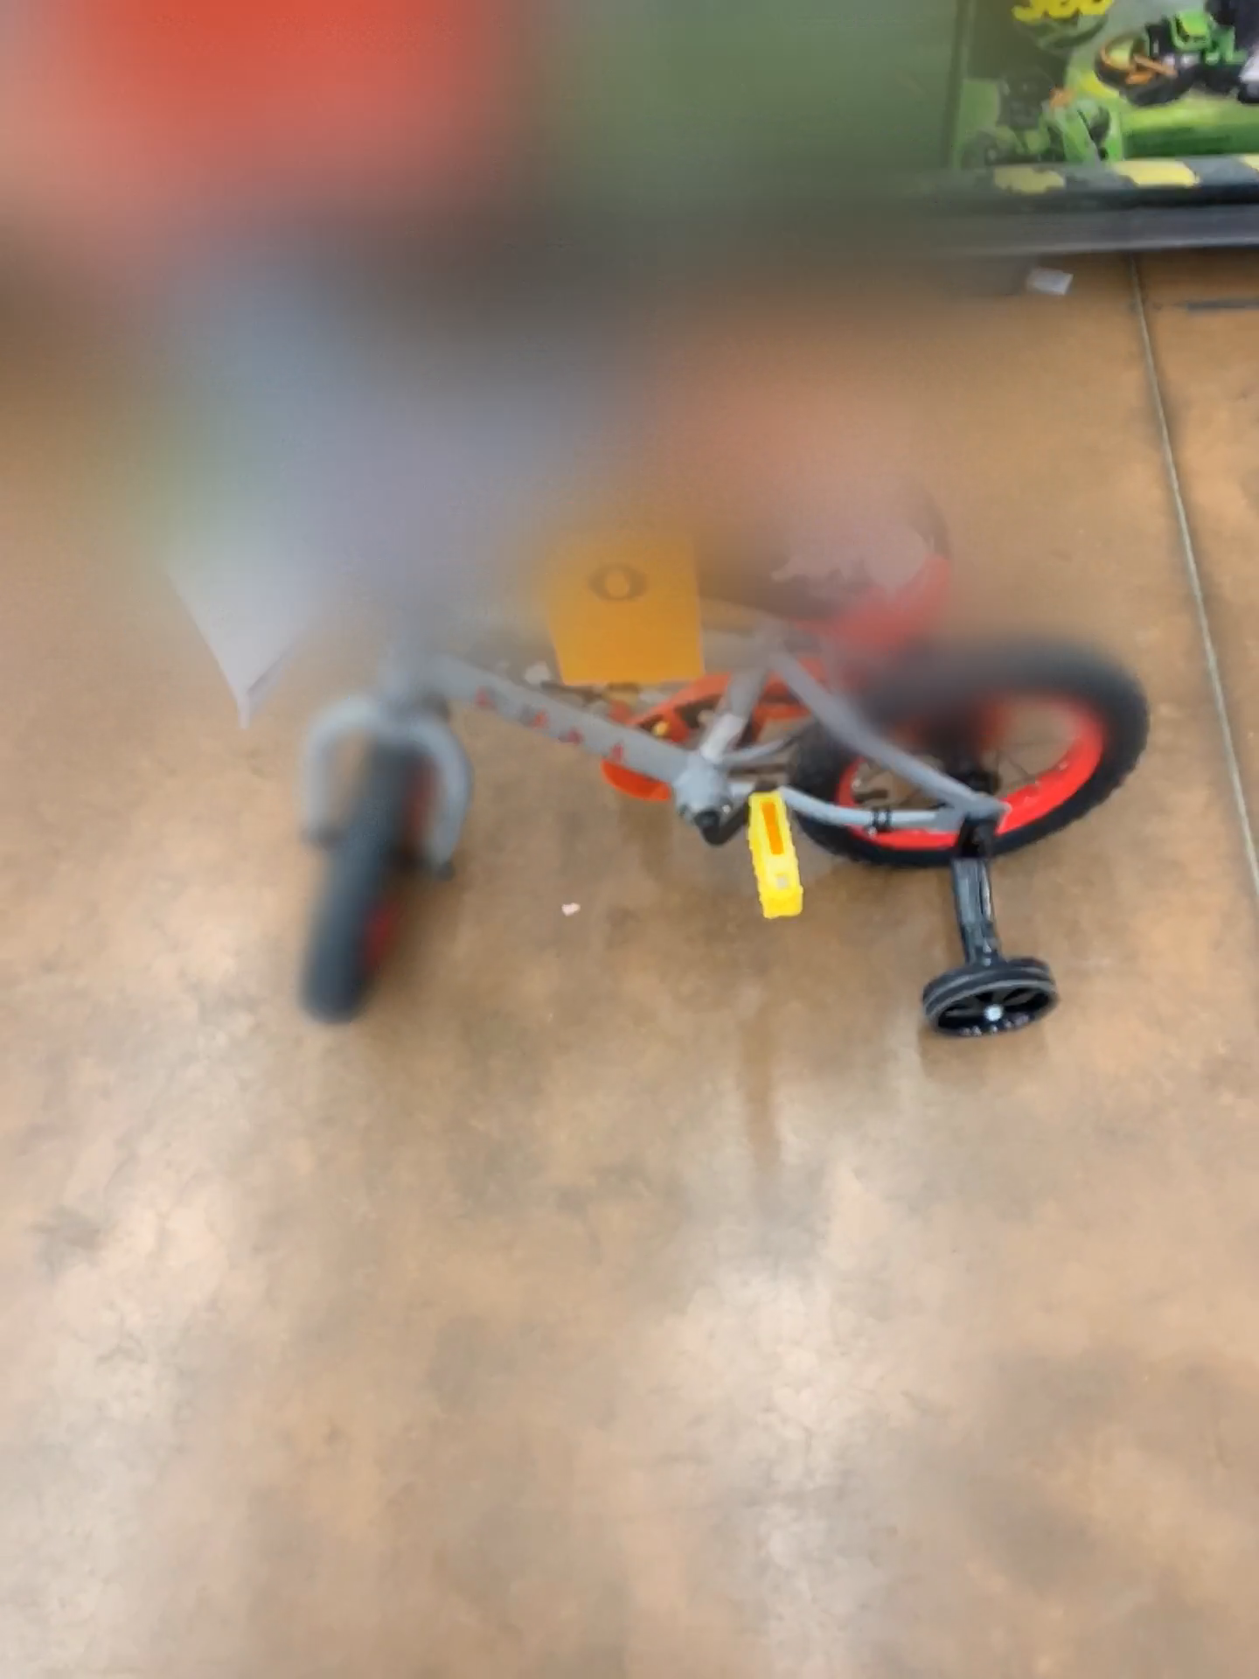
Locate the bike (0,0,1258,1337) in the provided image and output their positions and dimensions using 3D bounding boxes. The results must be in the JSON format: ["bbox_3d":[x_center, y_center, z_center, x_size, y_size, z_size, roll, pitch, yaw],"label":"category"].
[{"bbox_3d":[0.059,-0.081,0.862,0.678,0.742,0.450,-18,57,-3],"label":"bike"}]
